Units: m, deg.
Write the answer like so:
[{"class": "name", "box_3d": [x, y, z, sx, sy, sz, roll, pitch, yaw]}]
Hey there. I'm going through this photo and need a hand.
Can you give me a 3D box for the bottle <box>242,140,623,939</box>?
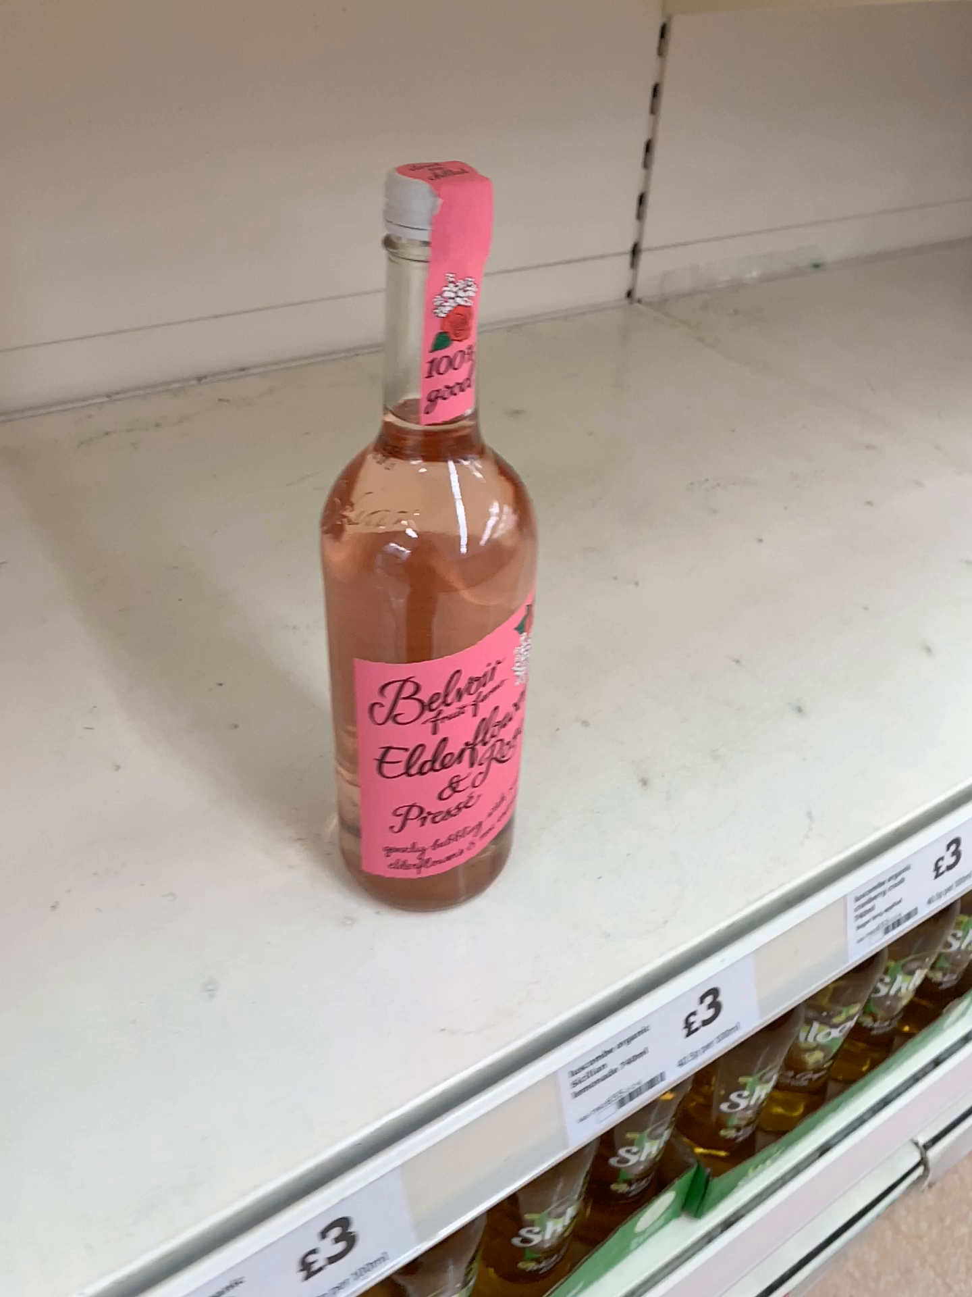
[{"class": "bottle", "box_3d": [-0.025, -0.025, 0.366, 0.087, 0.274, 0.087, 2, 37, -1]}]
